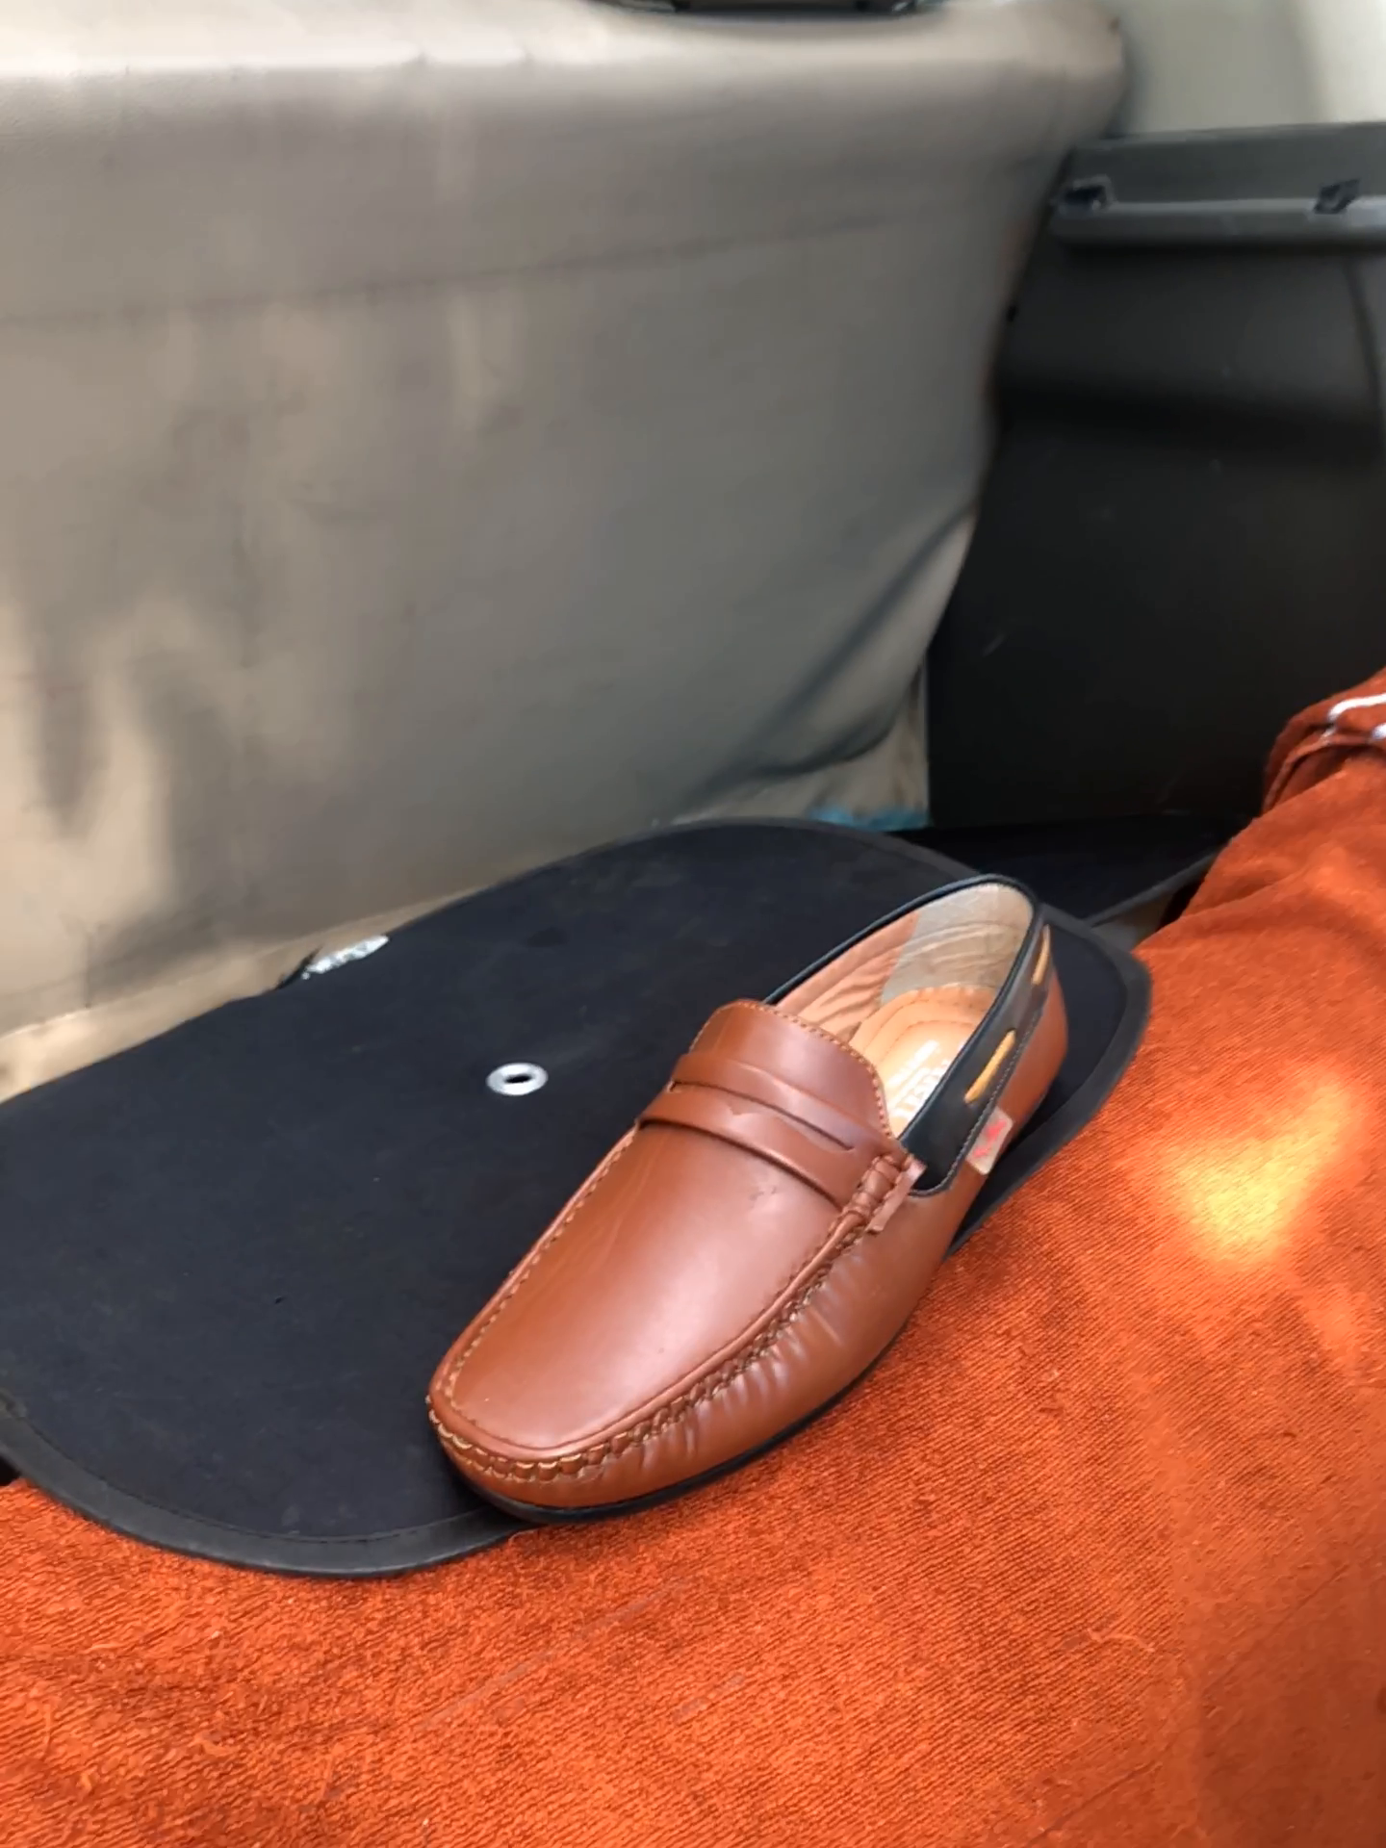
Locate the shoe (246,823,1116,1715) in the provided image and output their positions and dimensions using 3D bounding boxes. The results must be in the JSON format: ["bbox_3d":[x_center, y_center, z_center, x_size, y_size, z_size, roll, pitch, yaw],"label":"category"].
[{"bbox_3d":[0.019,0.072,0.458,0.110,0.070,0.281,16,37,31],"label":"shoe"}]
